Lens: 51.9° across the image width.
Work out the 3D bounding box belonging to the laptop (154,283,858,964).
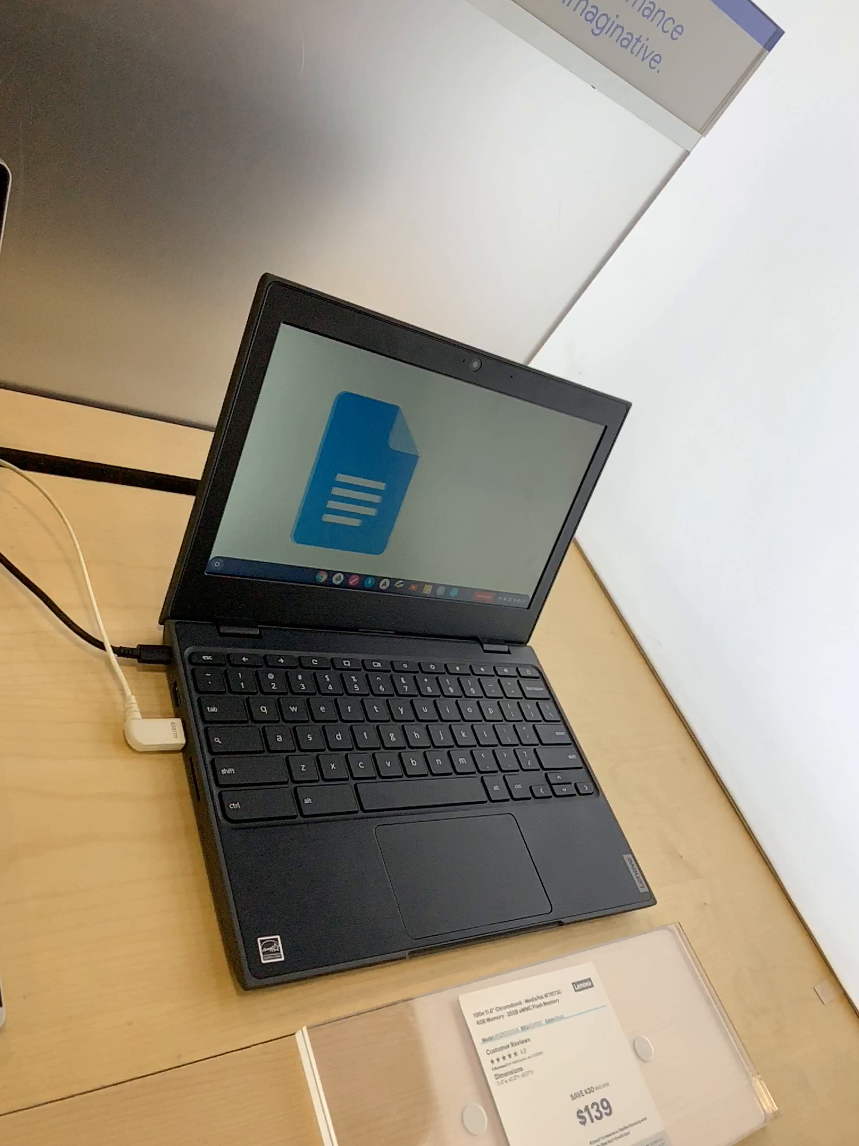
[{"bbox_3d":[0.032,0.025,0.491,0.276,0.170,0.266,8,45,-37],"label":"laptop"}]
